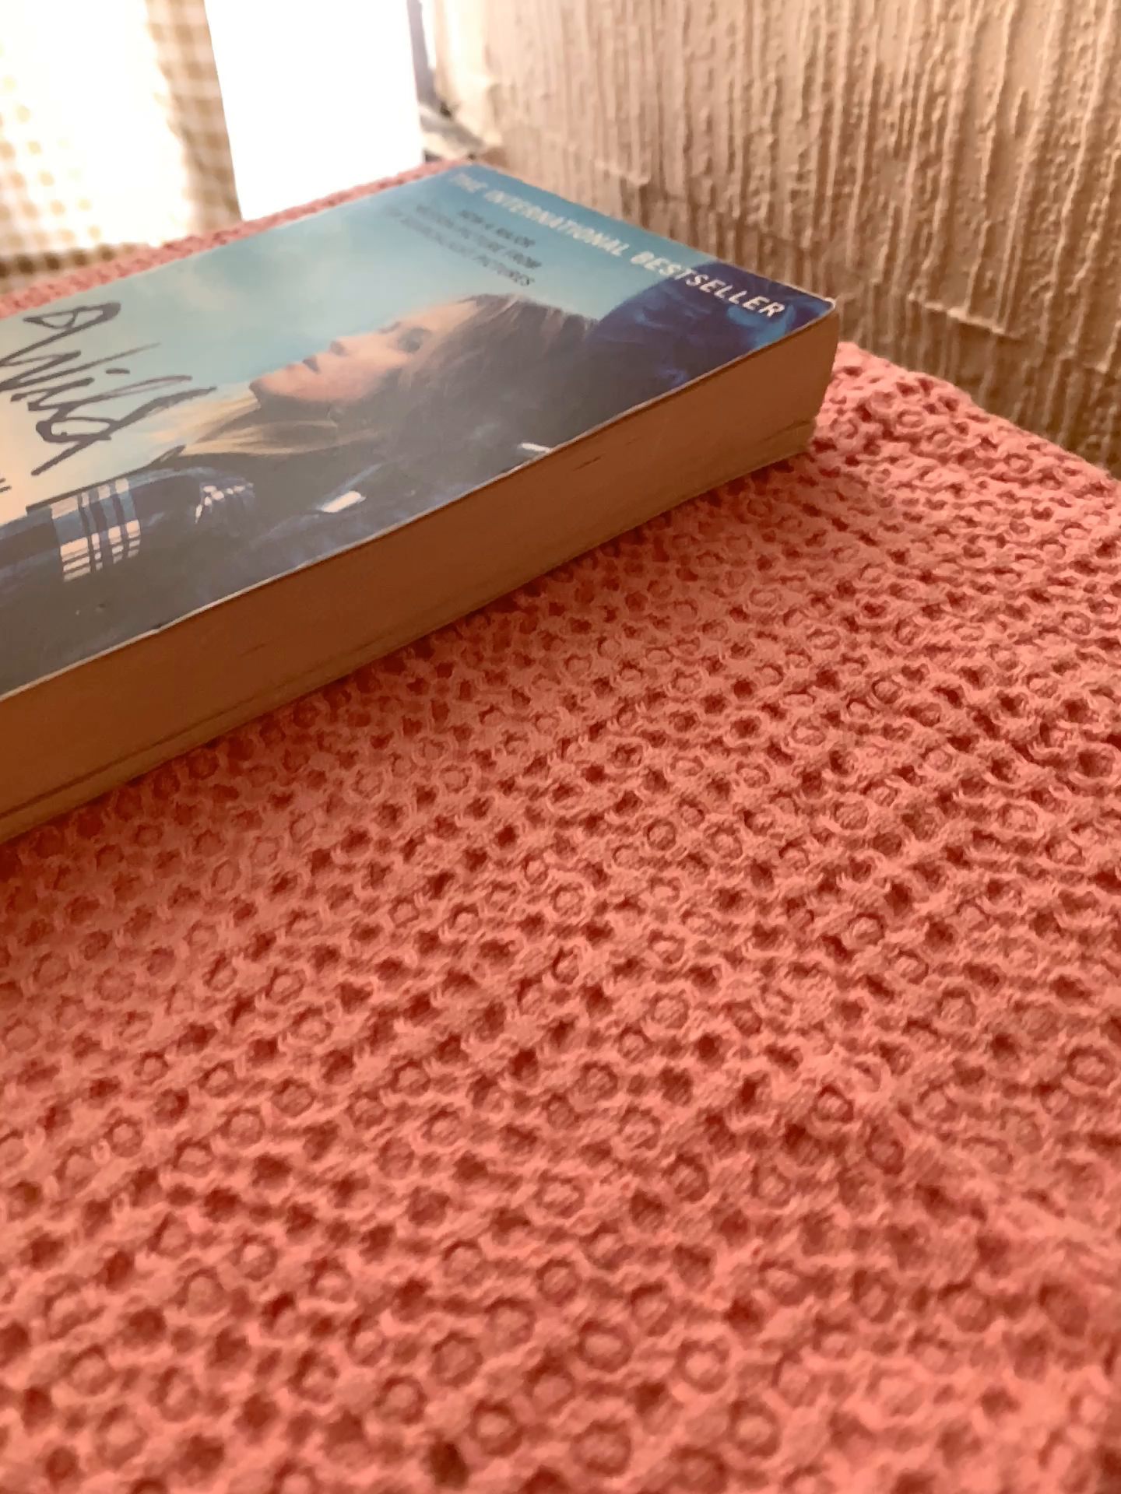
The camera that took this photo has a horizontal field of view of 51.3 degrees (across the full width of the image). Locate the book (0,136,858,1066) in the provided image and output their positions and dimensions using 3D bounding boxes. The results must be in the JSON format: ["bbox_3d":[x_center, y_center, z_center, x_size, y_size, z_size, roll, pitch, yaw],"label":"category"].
[{"bbox_3d":[-0.071,-0.057,0.224,0.211,0.030,0.141,-31,50,-23],"label":"book"}]
